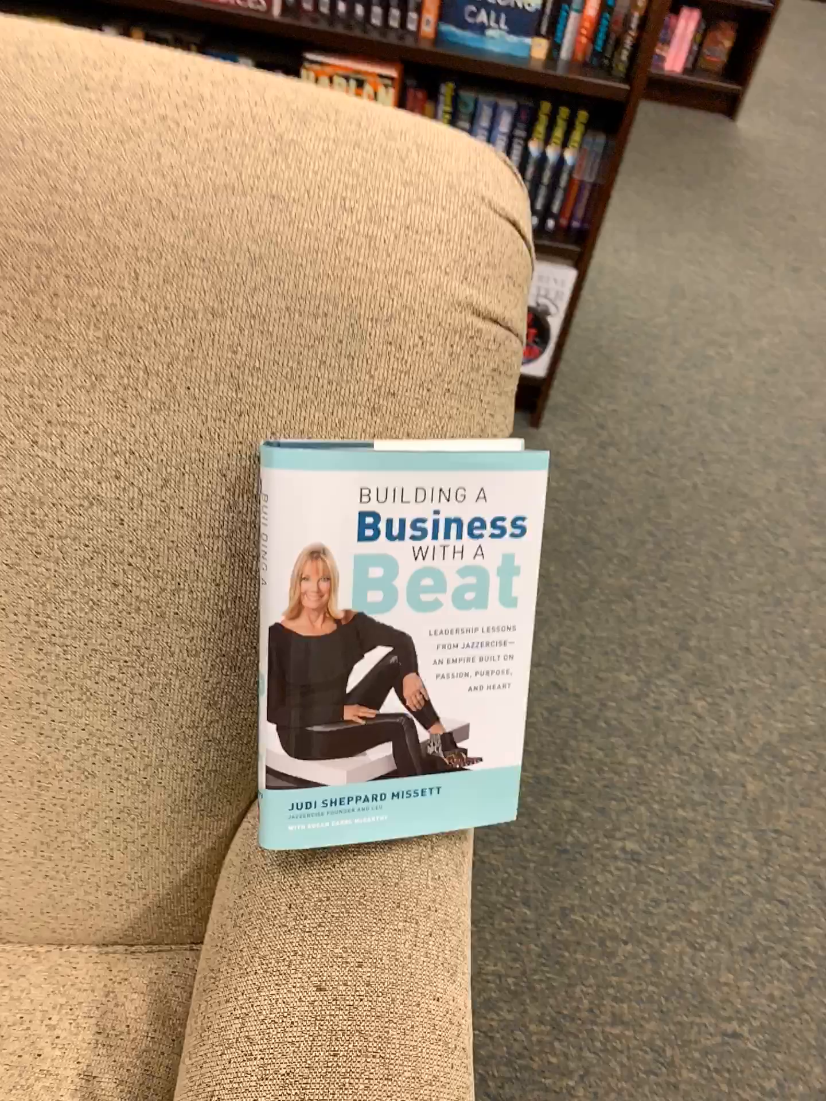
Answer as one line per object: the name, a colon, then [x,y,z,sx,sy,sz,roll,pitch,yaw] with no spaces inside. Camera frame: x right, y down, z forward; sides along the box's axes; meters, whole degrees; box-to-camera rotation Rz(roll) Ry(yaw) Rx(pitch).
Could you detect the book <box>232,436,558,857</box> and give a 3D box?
book: [-0.012,0.053,0.487,0.170,0.229,0.040,-2,16,-13]
